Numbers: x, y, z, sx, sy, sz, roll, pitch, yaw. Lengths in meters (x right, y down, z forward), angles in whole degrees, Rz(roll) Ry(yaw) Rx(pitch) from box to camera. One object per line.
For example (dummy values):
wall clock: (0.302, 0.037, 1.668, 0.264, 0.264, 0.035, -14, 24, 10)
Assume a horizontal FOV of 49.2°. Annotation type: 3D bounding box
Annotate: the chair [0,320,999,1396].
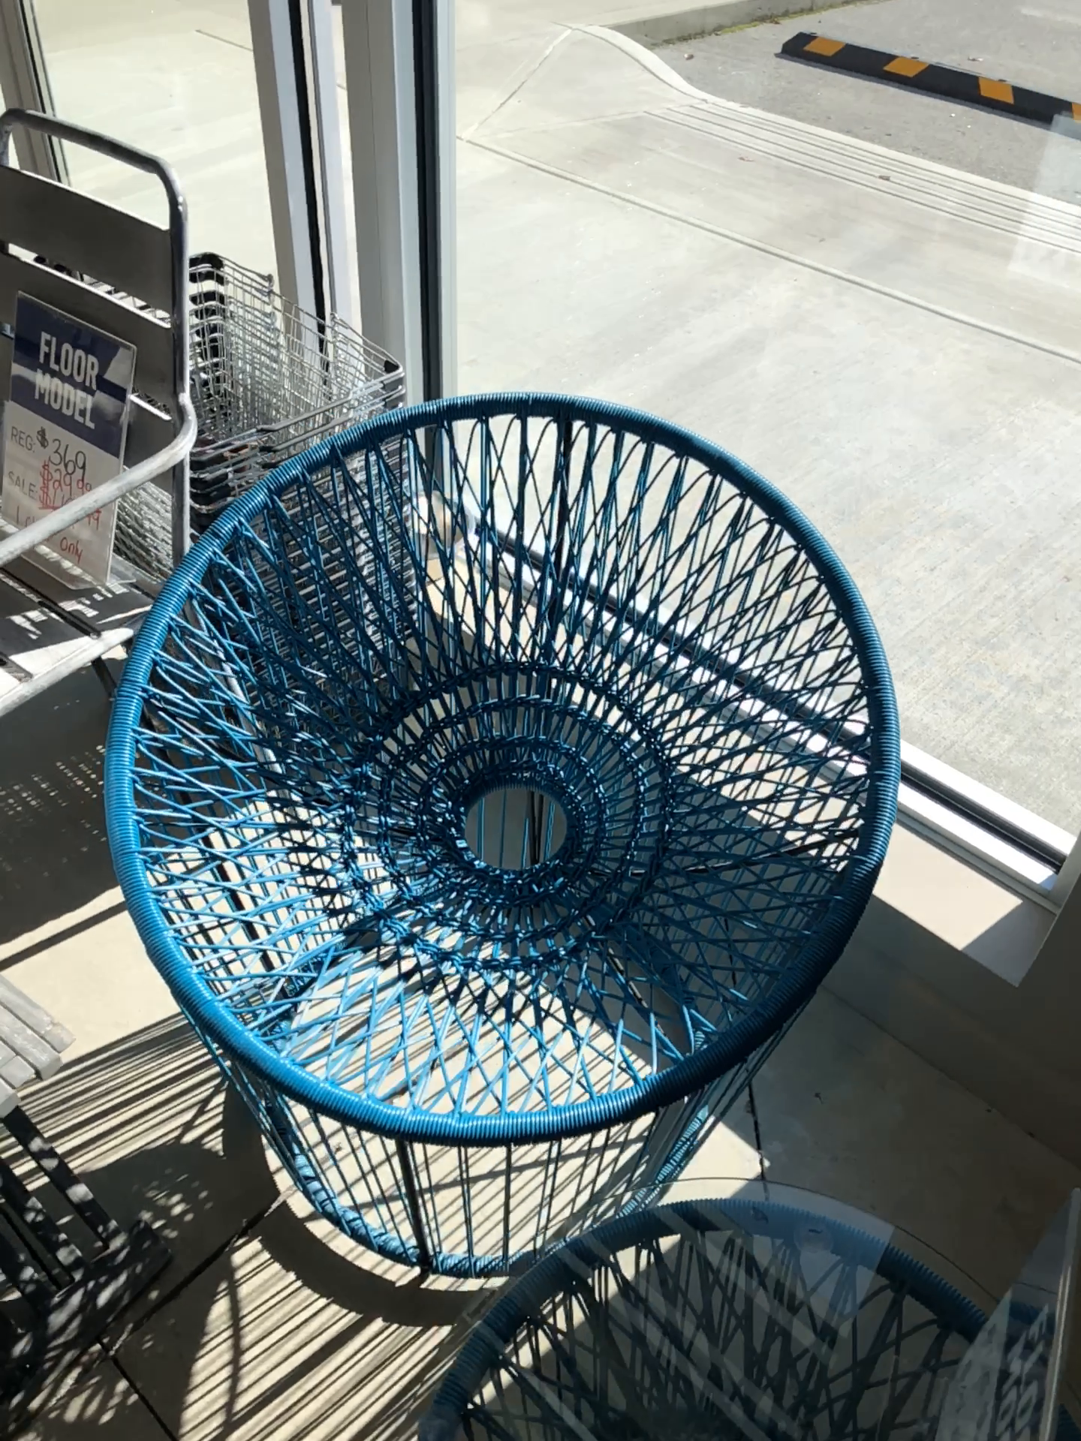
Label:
chair: (-0.017, 0.182, 1.387, 0.720, 0.993, 0.664, 8, 42, 6)
